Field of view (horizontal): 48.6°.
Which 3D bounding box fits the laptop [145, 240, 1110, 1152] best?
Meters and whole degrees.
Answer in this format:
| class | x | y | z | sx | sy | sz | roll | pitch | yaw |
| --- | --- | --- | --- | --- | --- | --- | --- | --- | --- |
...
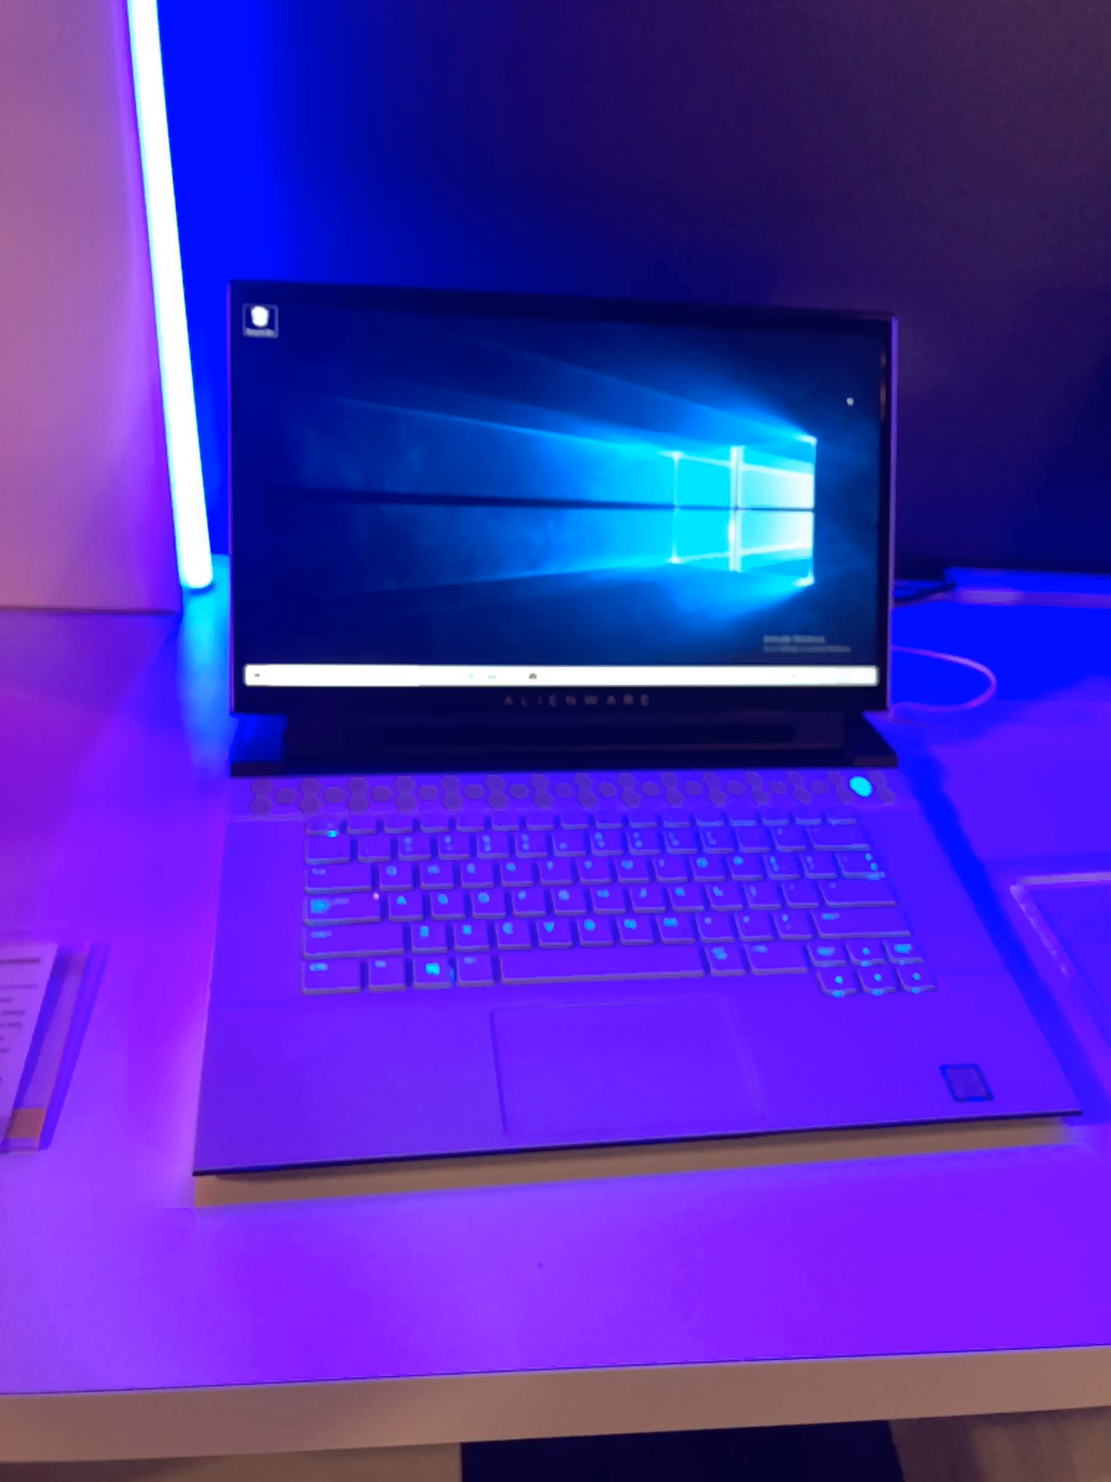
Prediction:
| class | x | y | z | sx | sy | sz | roll | pitch | yaw |
| --- | --- | --- | --- | --- | --- | --- | --- | --- | --- |
| laptop | 0.026 | -0.048 | 0.571 | 0.356 | 0.194 | 0.381 | 0 | 41 | -10 |
